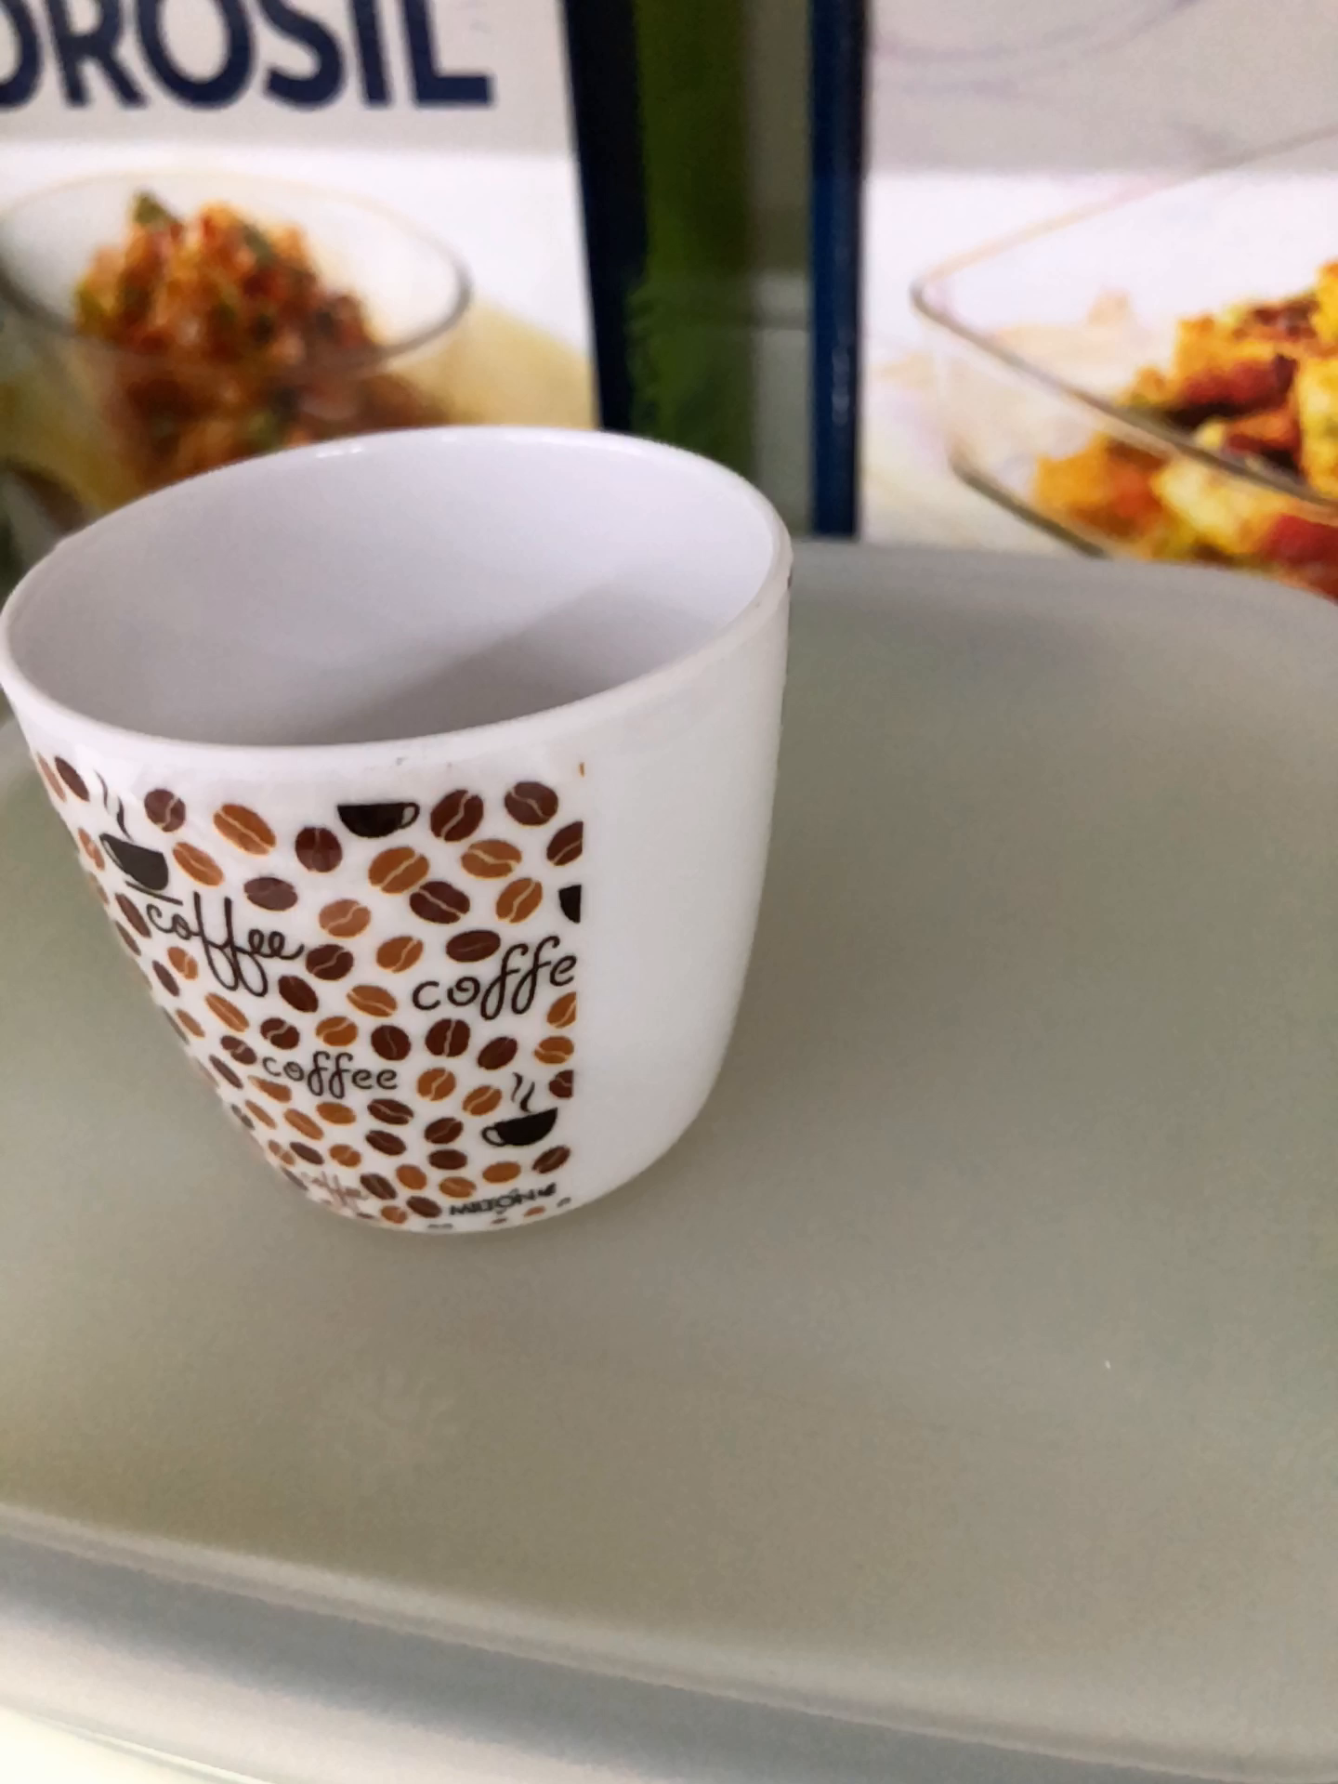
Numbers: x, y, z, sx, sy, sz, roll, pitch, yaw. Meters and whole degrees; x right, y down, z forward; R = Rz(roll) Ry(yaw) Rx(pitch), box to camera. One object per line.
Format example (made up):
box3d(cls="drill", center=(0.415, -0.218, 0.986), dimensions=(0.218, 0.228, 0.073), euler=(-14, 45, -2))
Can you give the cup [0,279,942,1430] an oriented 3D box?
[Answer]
box3d(cls="cup", center=(-0.029, -0.013, 0.126), dimensions=(0.080, 0.050, 0.060), euler=(22, 42, 30))
